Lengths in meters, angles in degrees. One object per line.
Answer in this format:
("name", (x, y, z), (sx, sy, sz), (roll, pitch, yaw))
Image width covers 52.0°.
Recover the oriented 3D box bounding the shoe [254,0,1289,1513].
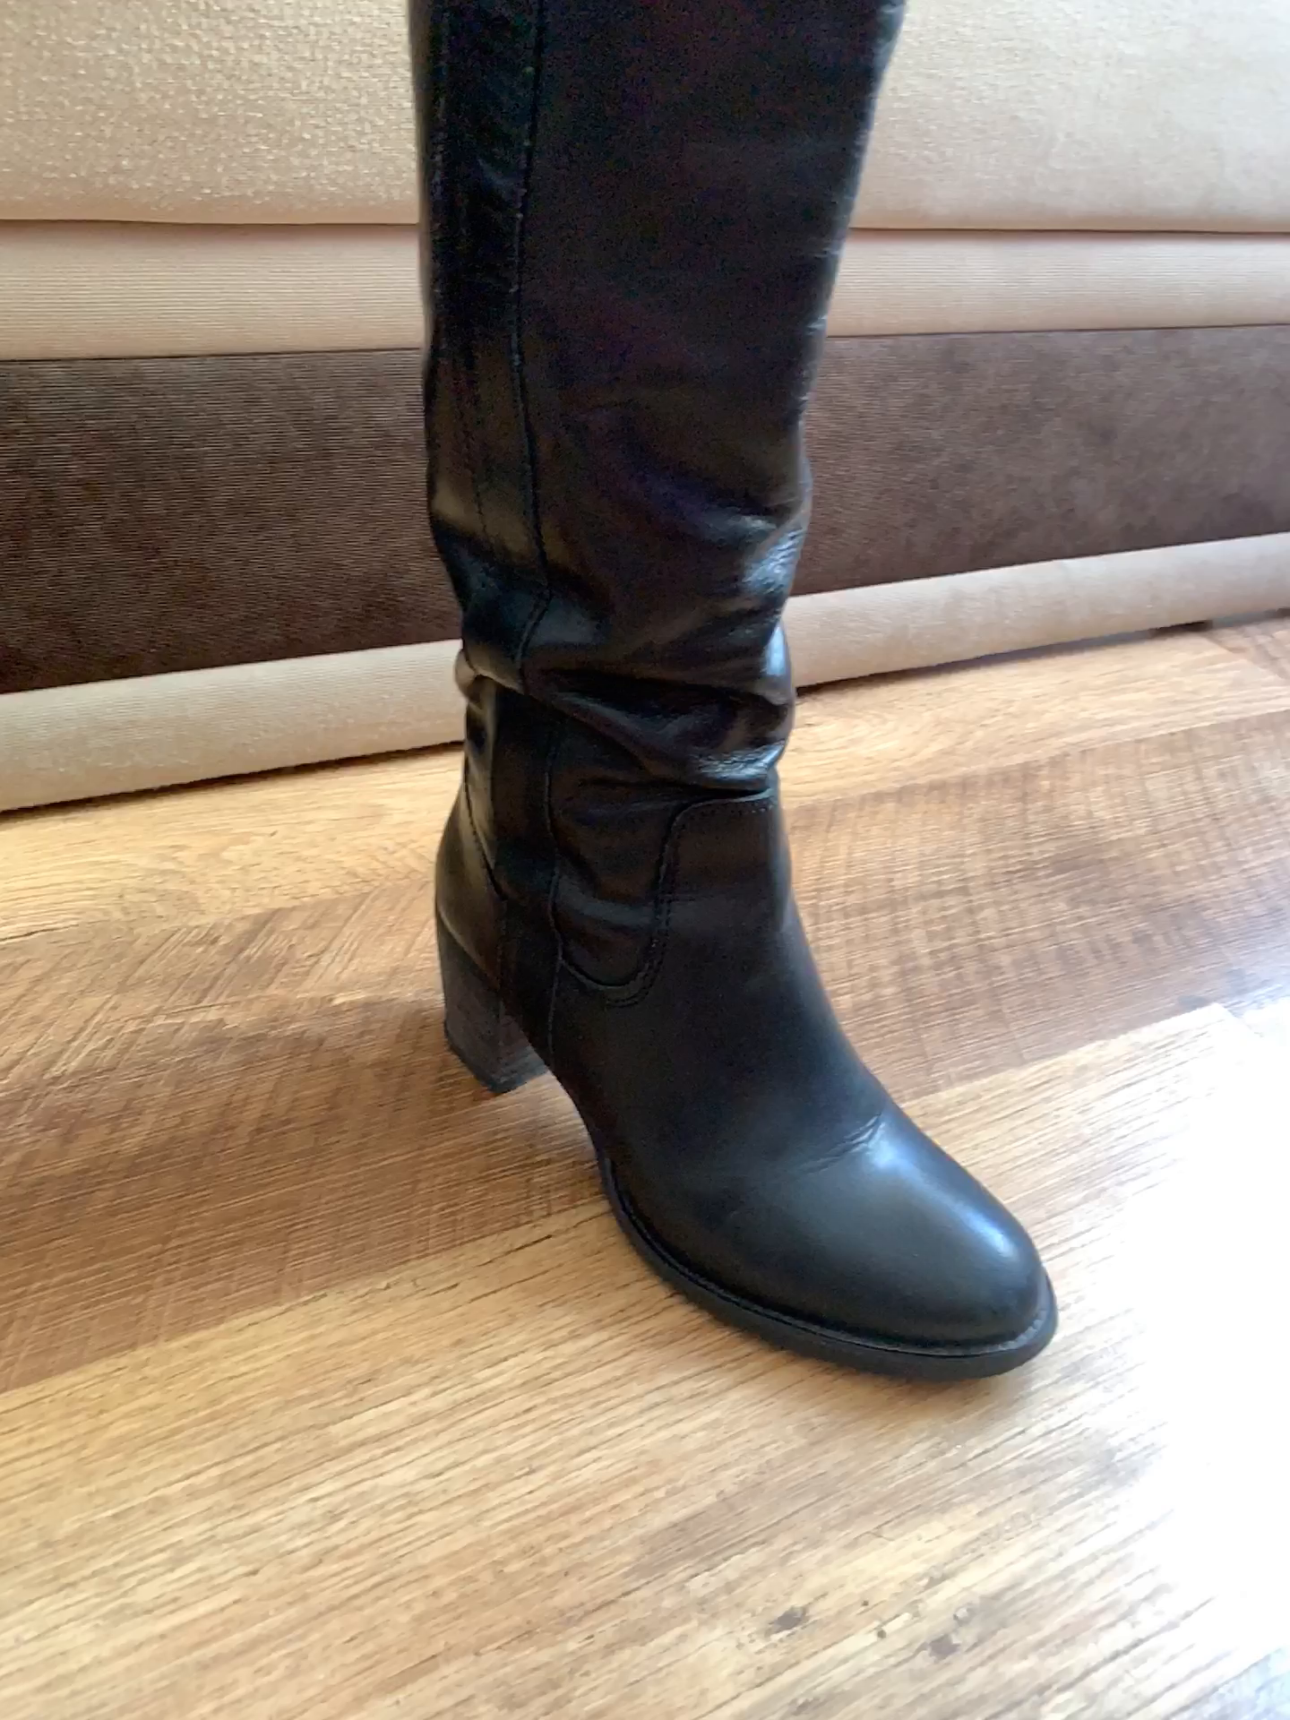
("shoe", (0.046, -0.112, 0.272), (0.210, 0.497, 0.100), (27, 38, 30))
